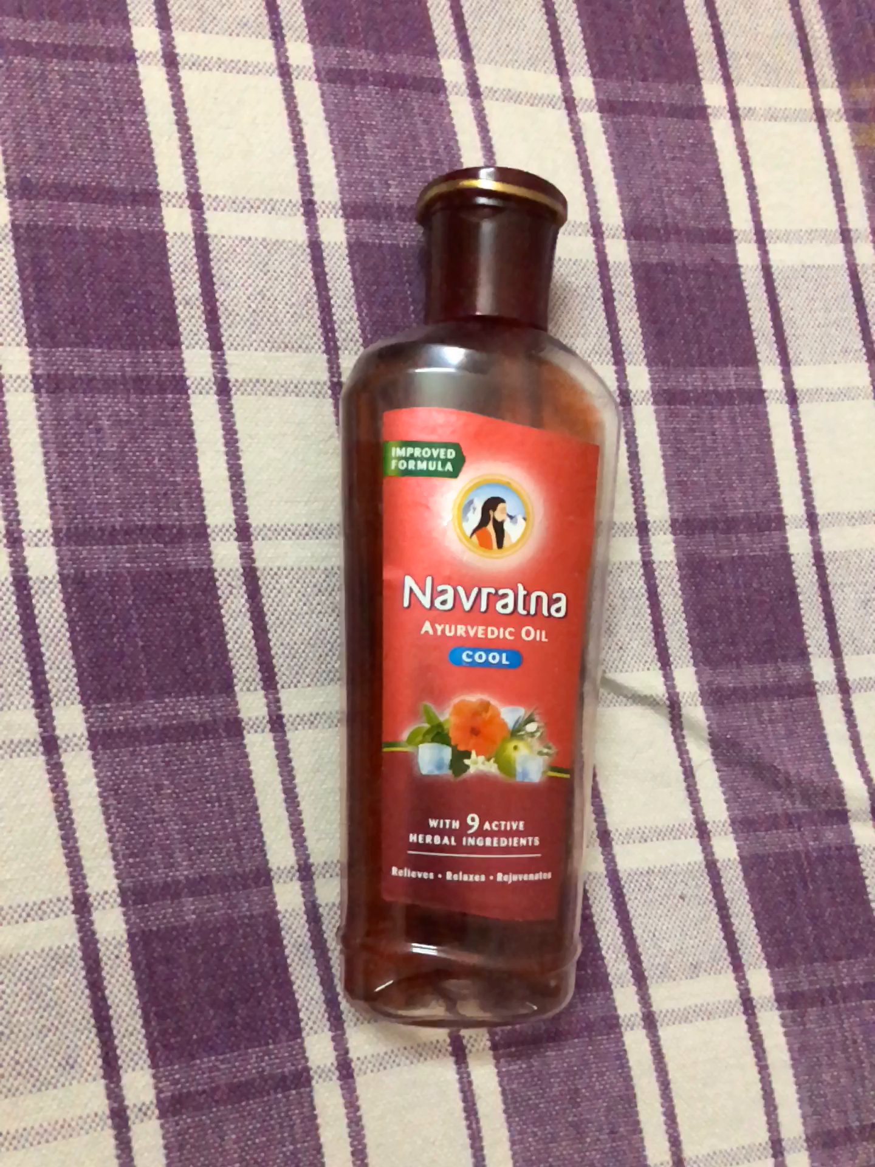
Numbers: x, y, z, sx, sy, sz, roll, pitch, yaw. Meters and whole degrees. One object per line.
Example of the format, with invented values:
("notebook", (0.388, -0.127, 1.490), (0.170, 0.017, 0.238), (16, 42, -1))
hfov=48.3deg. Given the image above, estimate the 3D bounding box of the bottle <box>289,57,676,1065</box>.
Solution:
("bottle", (0.009, -0.005, 0.224), (0.070, 0.050, 0.200), (4, 85, -11))
